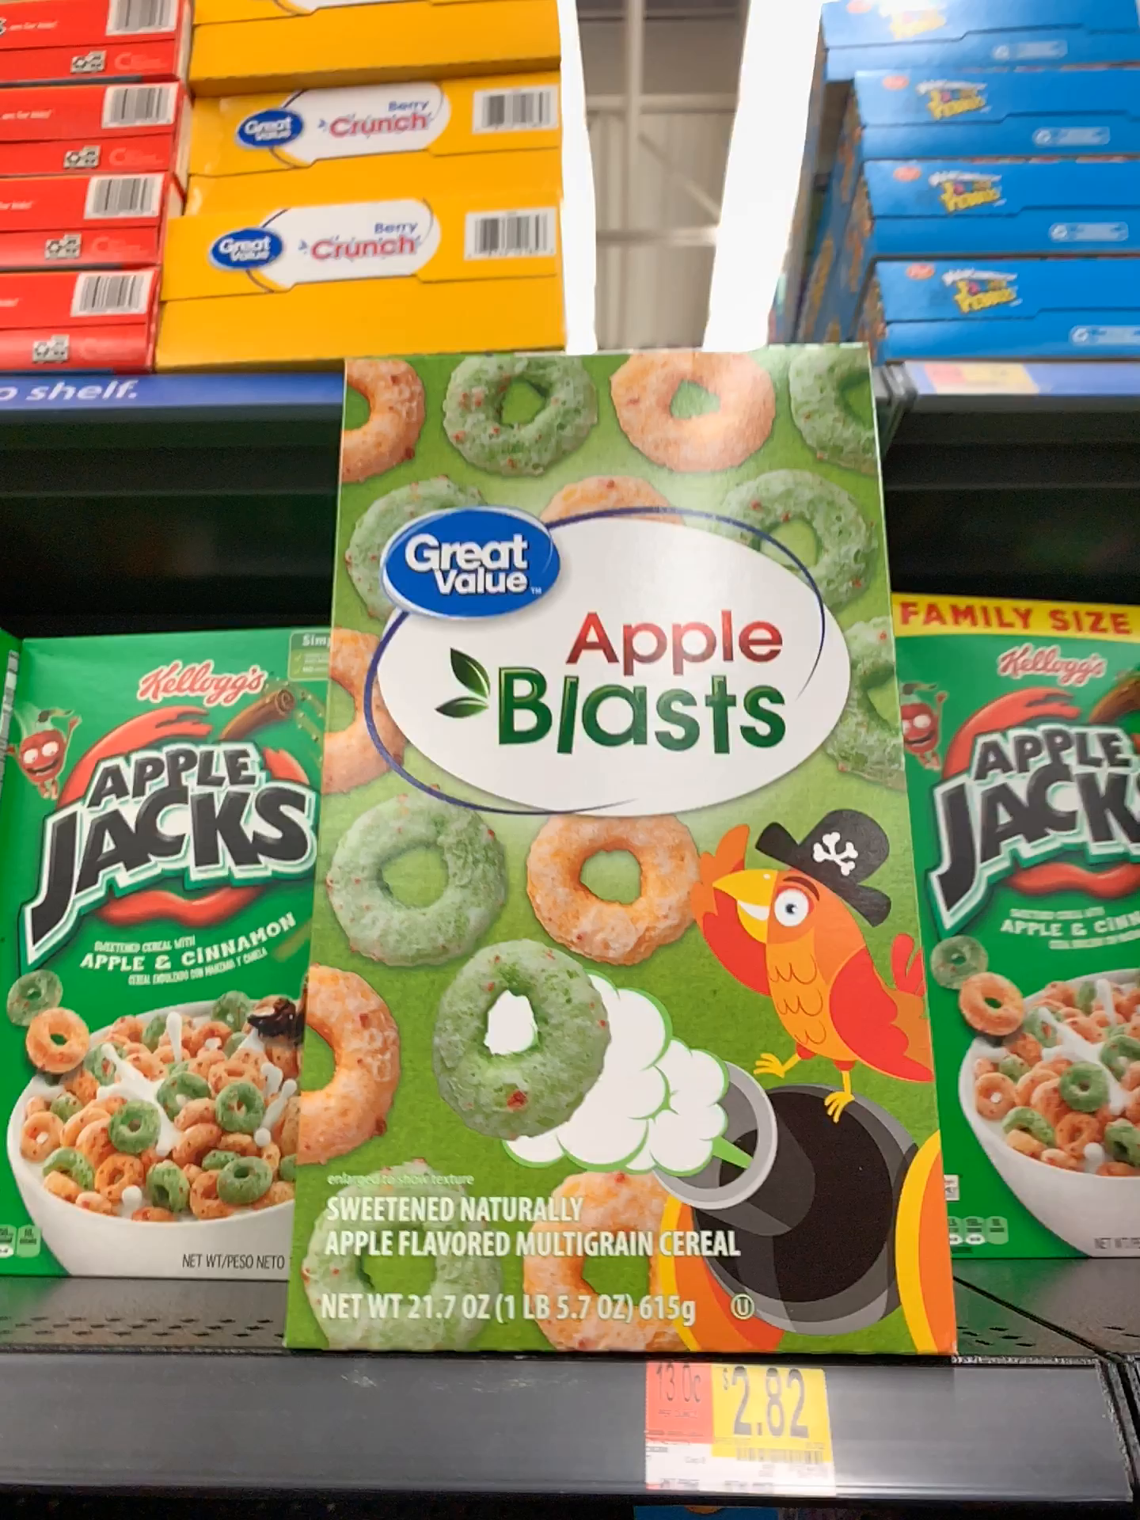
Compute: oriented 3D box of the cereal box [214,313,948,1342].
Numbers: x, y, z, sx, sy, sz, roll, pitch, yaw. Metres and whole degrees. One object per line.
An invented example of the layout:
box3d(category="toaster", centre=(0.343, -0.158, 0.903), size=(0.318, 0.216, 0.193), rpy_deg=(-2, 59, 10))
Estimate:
box3d(category="cereal box", centre=(0.004, 0.014, 0.419), size=(0.200, 0.331, 0.100), rpy_deg=(0, -17, 1))
